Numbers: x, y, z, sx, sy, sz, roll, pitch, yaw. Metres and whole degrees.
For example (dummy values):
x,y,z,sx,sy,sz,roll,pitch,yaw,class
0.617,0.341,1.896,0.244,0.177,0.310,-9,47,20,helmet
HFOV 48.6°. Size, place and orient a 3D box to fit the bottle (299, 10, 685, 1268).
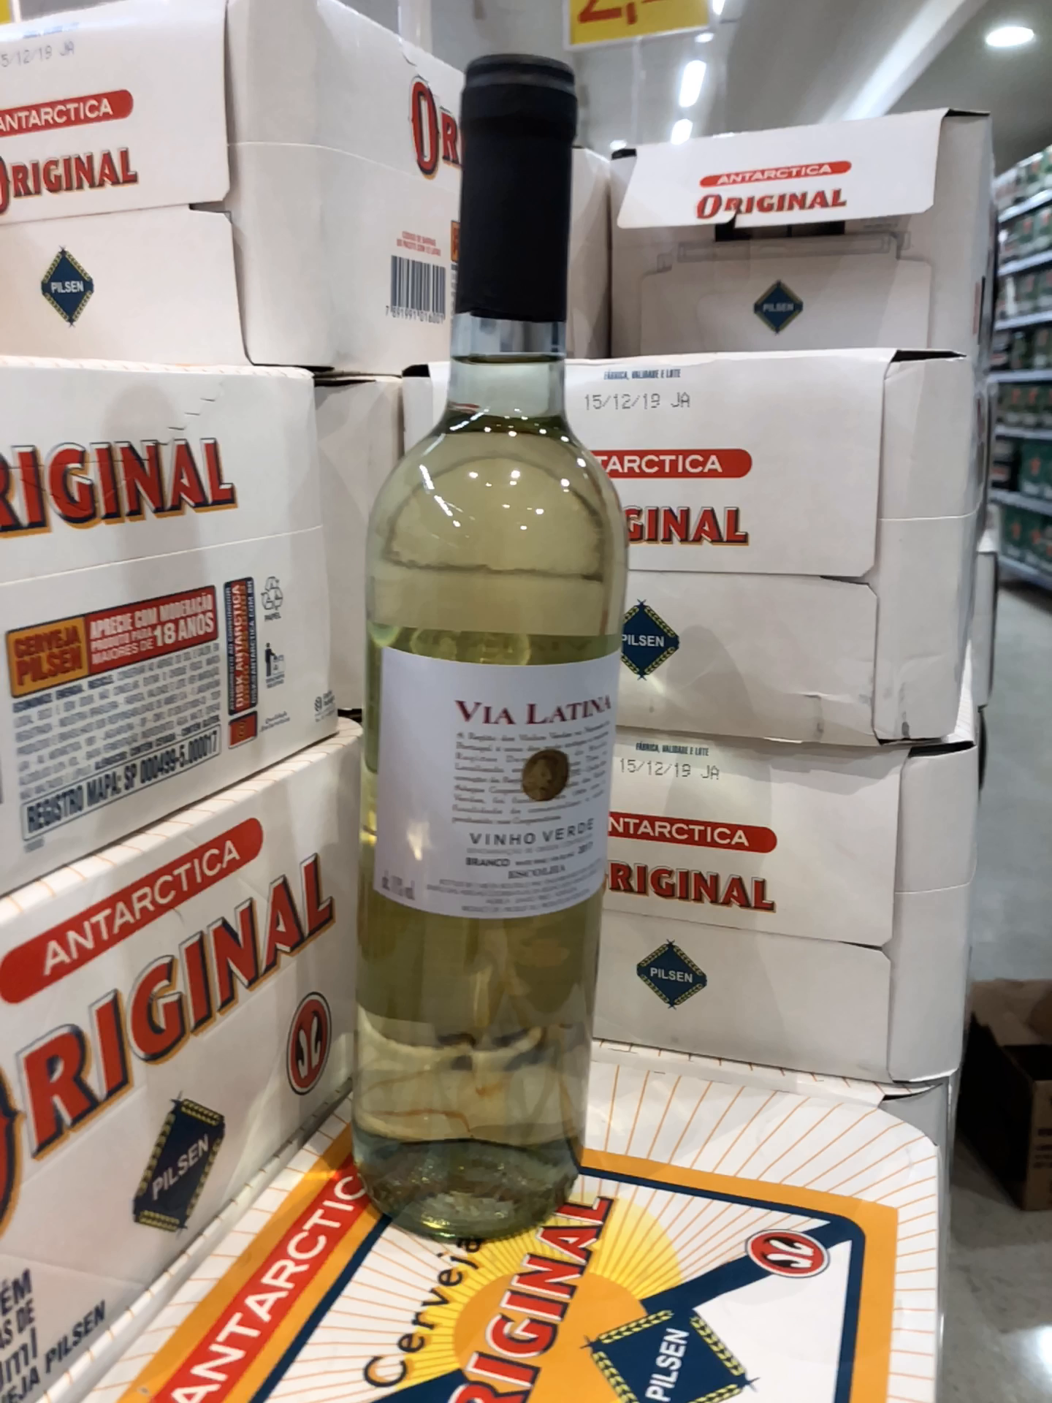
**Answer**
x,y,z,sx,sy,sz,roll,pitch,yaw,class
-0.014,-0.008,0.328,0.080,0.309,0.070,-4,13,-20,bottle
